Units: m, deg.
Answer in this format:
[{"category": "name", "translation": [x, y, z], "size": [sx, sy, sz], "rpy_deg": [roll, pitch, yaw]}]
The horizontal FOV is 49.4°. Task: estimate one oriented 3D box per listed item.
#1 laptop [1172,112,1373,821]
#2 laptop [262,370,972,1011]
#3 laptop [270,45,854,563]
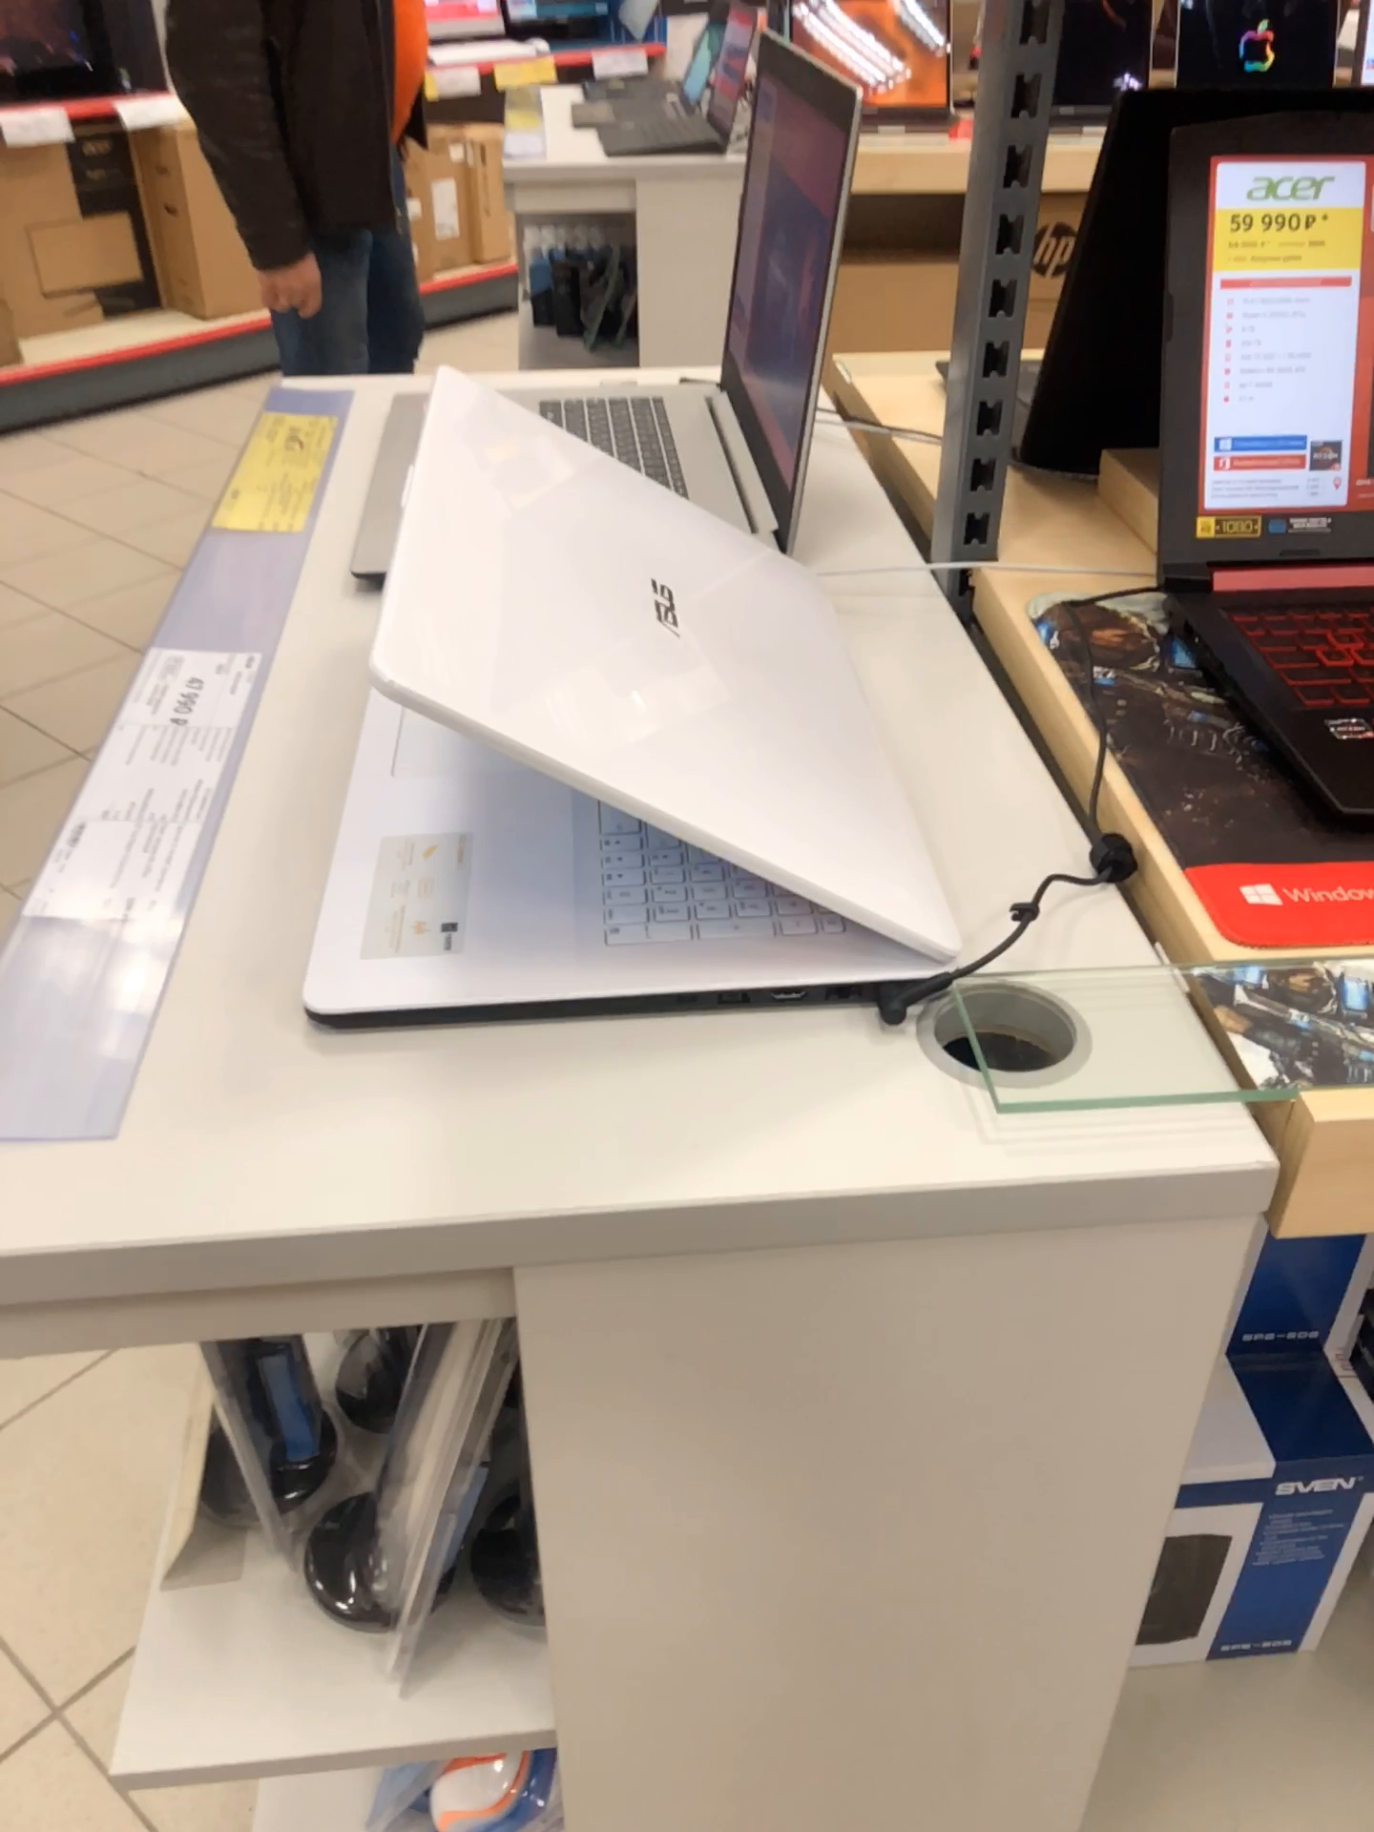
[{"category": "laptop", "translation": [0.484, -0.256, 0.771], "size": [0.377, 0.220, 0.367], "rpy_deg": [-2, 33, 2]}, {"category": "laptop", "translation": [-0.047, -0.139, 0.737], "size": [0.256, 0.142, 0.393], "rpy_deg": [-4, 35, -5]}, {"category": "laptop", "translation": [-0.083, -0.468, 1.092], "size": [0.336, 0.262, 0.394], "rpy_deg": [-4, 34, -6]}]
